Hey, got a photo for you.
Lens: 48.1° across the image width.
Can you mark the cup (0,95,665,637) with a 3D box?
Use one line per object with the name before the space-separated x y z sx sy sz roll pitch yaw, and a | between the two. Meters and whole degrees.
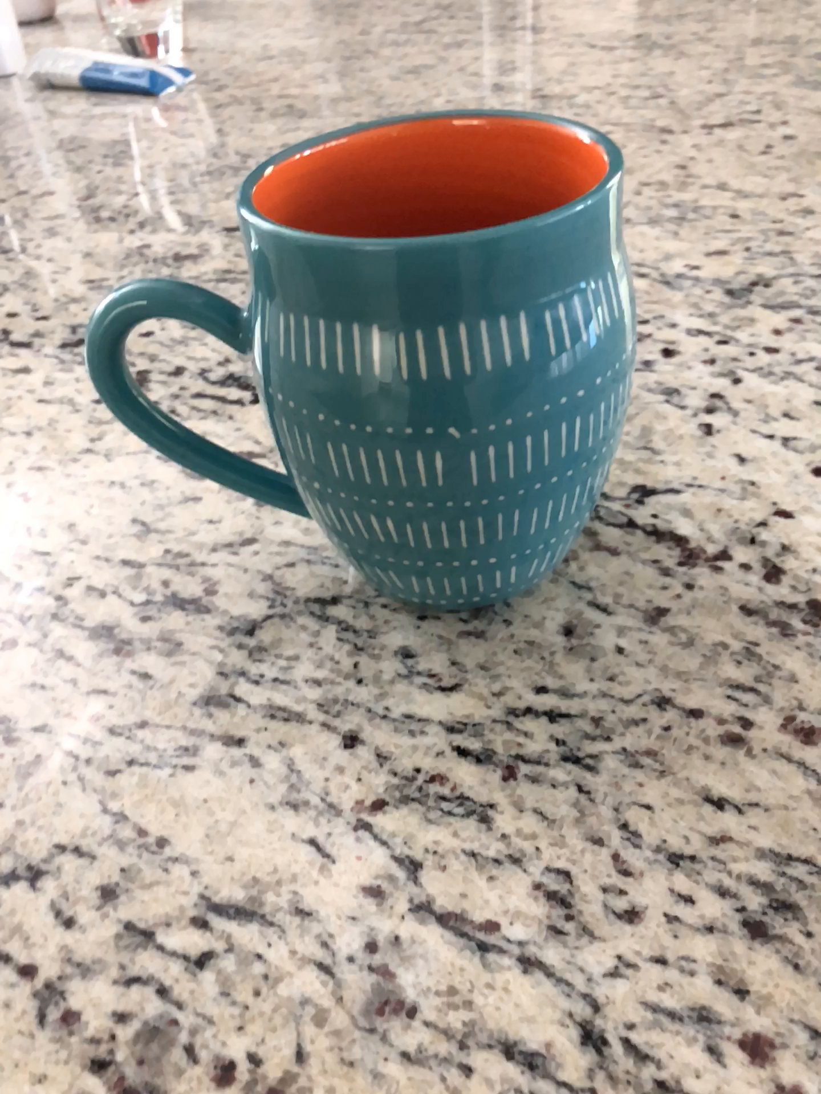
cup | -0.010 -0.055 0.258 0.150 0.099 0.111 3 40 12
